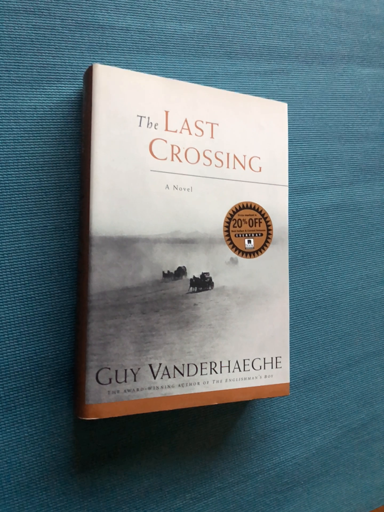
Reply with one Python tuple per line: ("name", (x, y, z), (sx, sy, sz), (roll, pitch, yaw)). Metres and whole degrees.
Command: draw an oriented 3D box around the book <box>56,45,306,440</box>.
("book", (-0.003, -0.009, 0.300), (0.170, 0.040, 0.230), (1, 85, -25))
